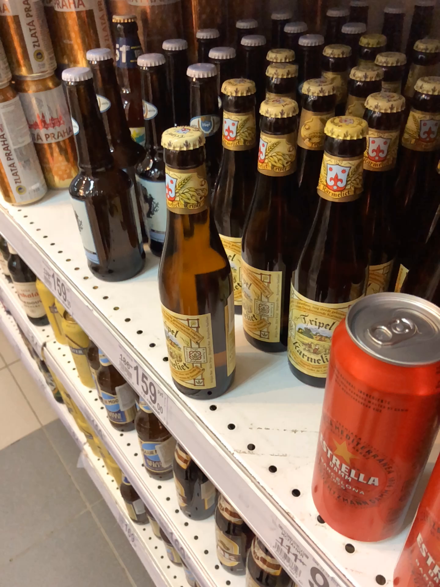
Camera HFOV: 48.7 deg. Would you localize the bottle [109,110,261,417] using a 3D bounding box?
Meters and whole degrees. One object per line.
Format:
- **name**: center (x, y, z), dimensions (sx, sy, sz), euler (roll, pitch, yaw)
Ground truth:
- **bottle**: center (-0.018, -0.014, 0.375), dimensions (0.070, 0.219, 0.070), euler (-2, 38, 2)
